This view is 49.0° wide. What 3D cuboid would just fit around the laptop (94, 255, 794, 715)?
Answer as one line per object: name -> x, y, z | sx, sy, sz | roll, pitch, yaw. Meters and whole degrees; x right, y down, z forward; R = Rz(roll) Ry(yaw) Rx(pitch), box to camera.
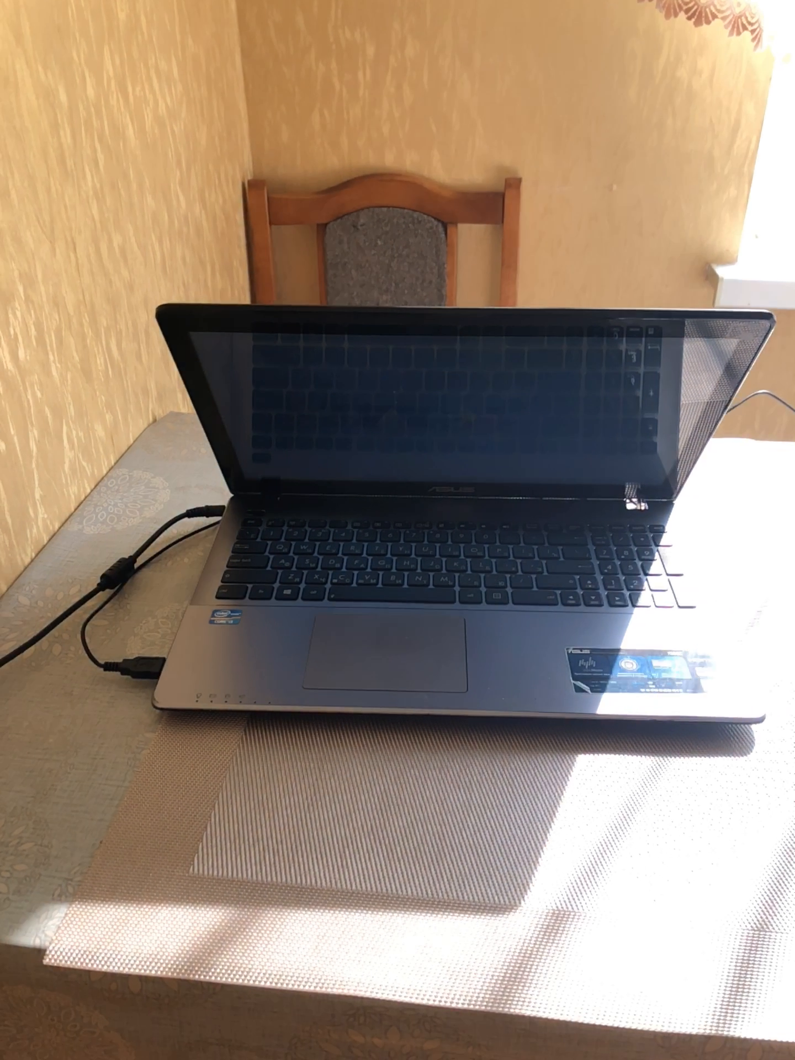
laptop -> 0.041, -0.042, 0.570 | 0.363, 0.197, 0.241 | 0, 33, 2
